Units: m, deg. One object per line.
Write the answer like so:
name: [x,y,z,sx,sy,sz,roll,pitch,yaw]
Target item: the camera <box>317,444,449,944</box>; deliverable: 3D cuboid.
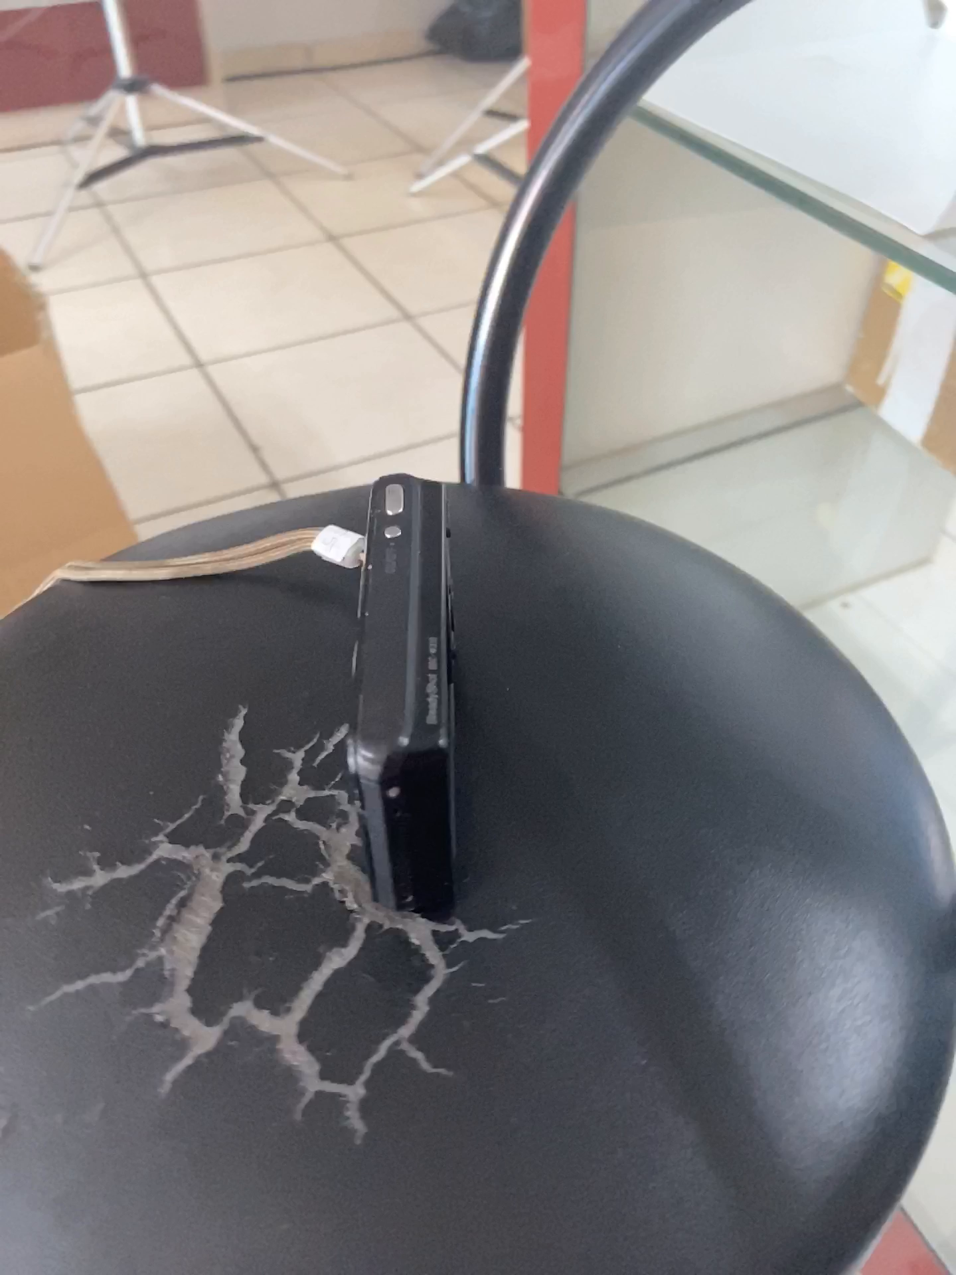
camera: [-0.018,0.007,0.228,0.020,0.050,0.111,-1,43,0]
